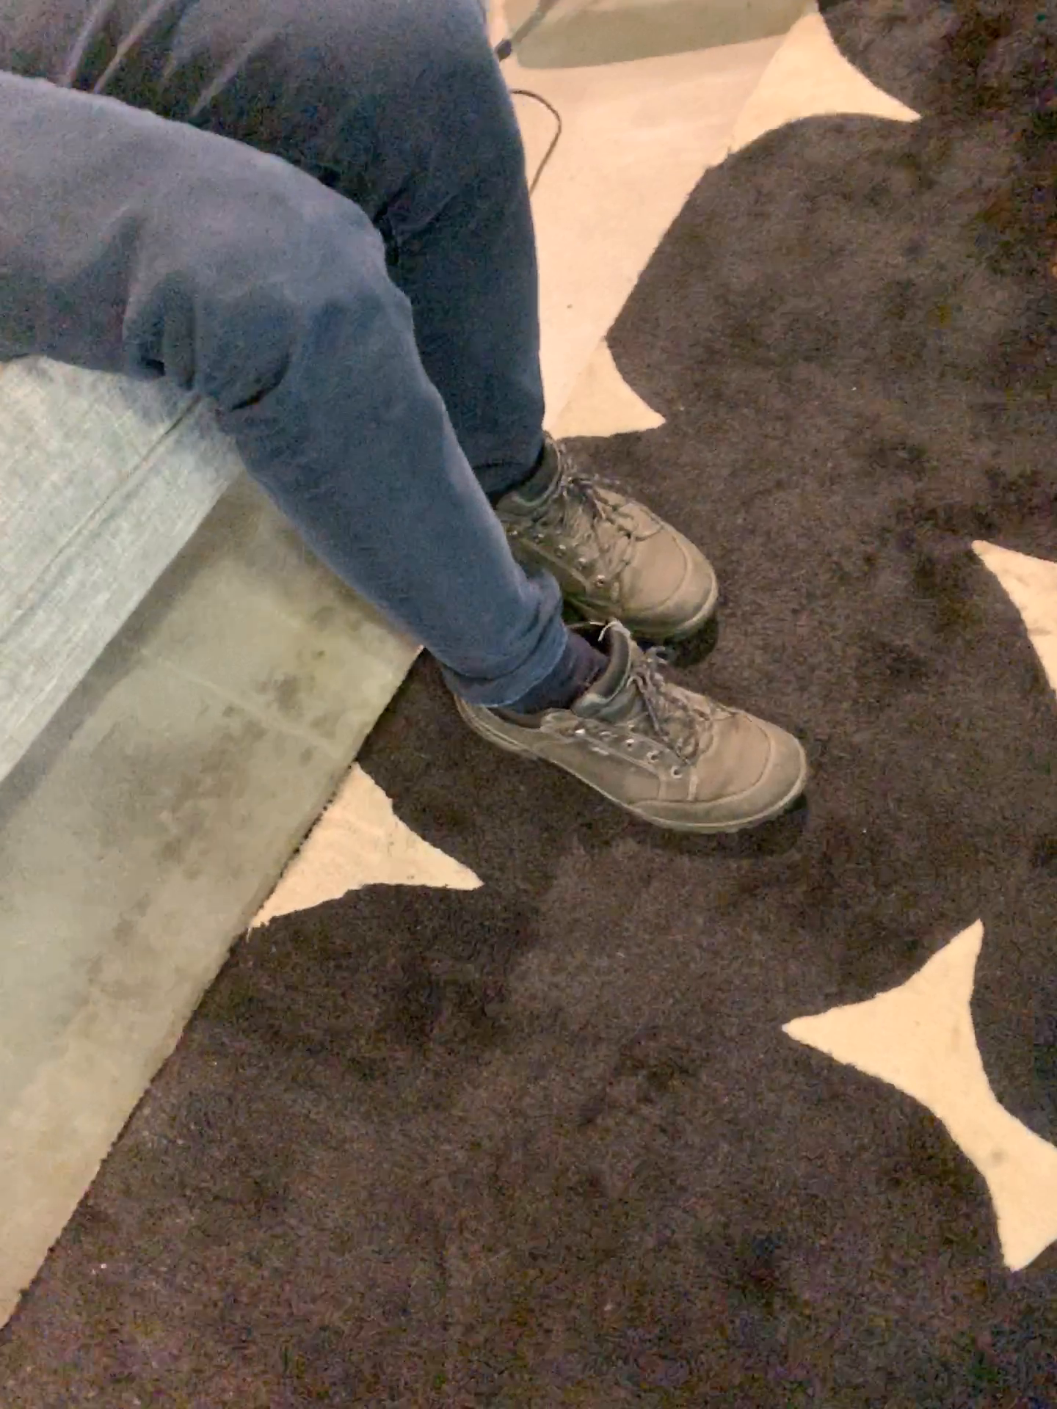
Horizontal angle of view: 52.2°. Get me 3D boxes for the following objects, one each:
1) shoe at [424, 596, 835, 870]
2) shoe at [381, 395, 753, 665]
[{"bbox_3d":[0.077,0.021,0.850,0.287,0.077,0.121,16,70,9],"label":"shoe"},{"bbox_3d":[0.032,-0.152,0.929,0.285,0.077,0.119,22,71,11],"label":"shoe"}]
